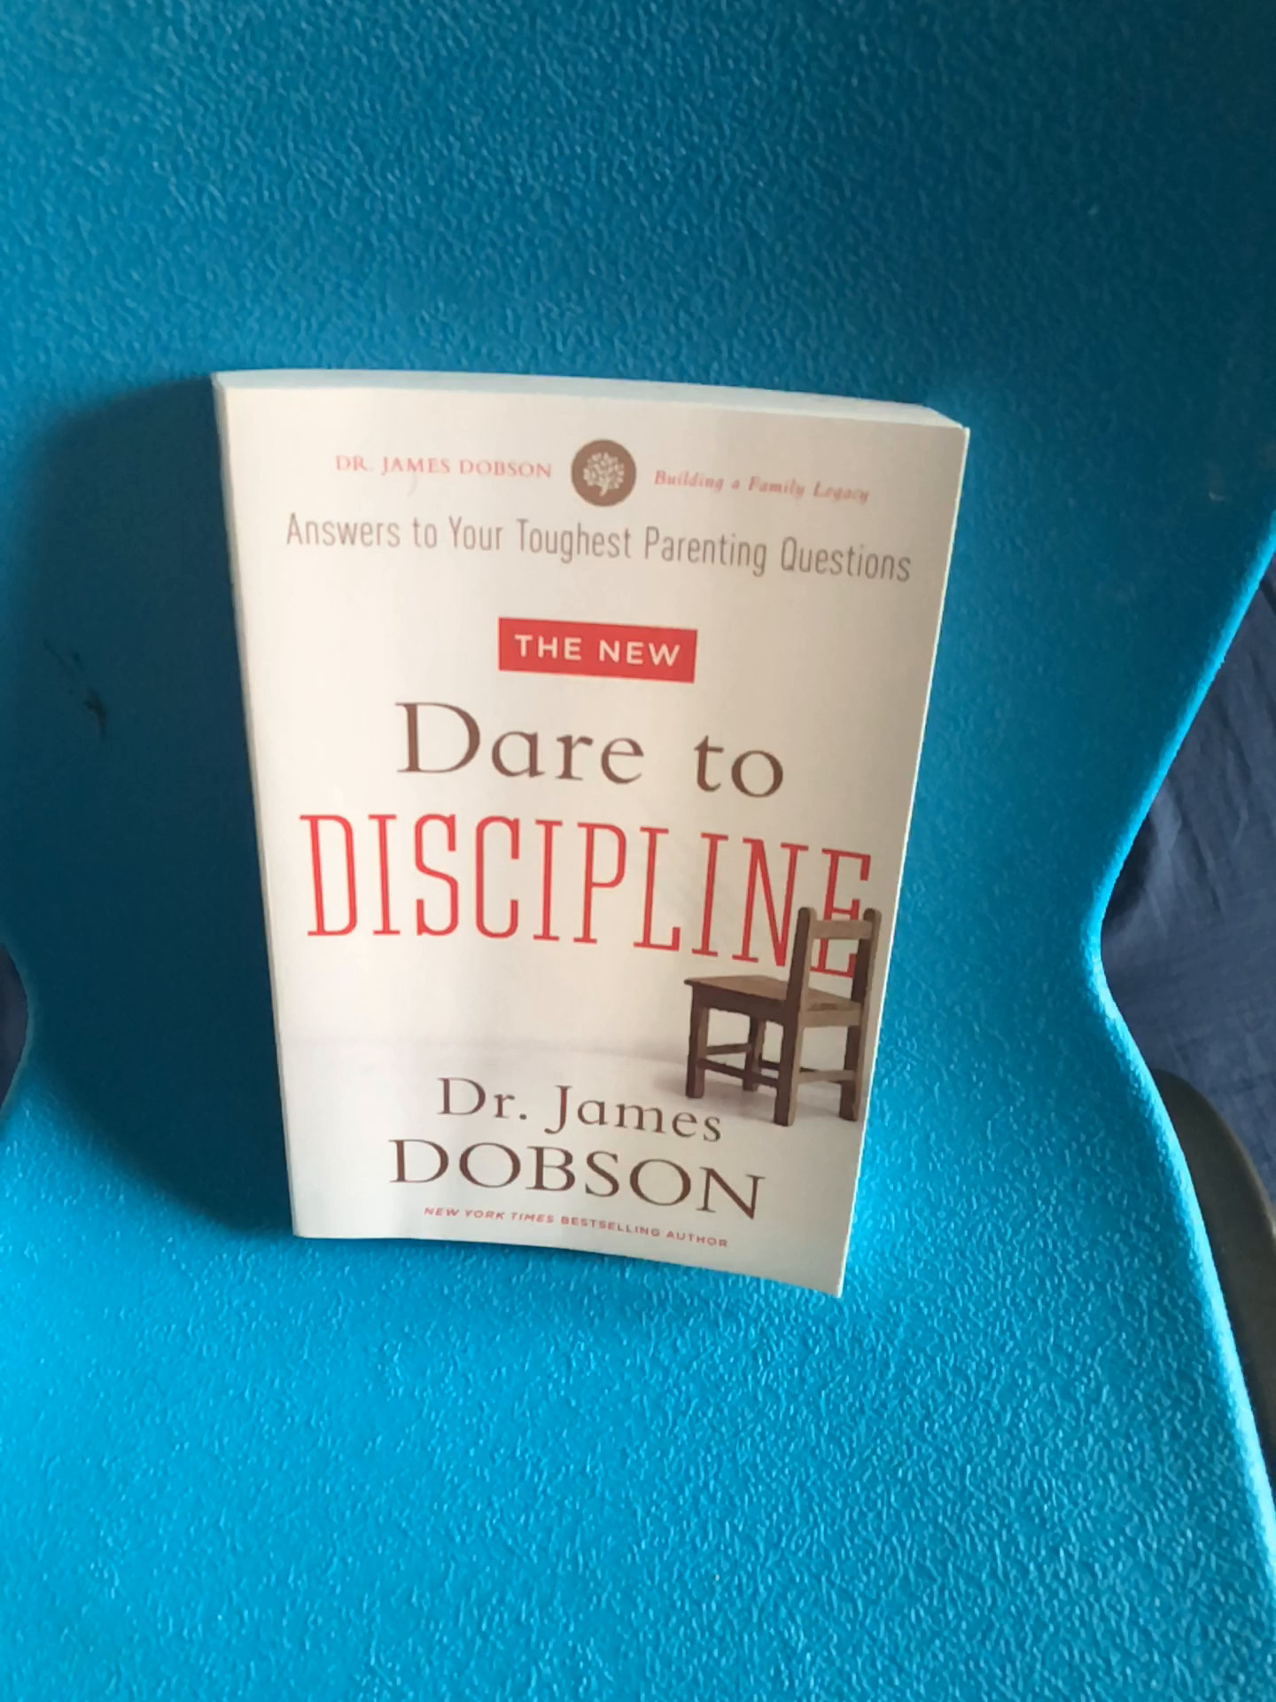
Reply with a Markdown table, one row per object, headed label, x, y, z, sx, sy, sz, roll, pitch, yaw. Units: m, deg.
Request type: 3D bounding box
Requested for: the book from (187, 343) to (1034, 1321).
| label | x | y | z | sx | sy | sz | roll | pitch | yaw |
| --- | --- | --- | --- | --- | --- | --- | --- | --- | --- |
| book | -0.010 | 0.002 | 0.304 | 0.150 | 0.199 | 0.040 | 5 | 23 | 3 |
